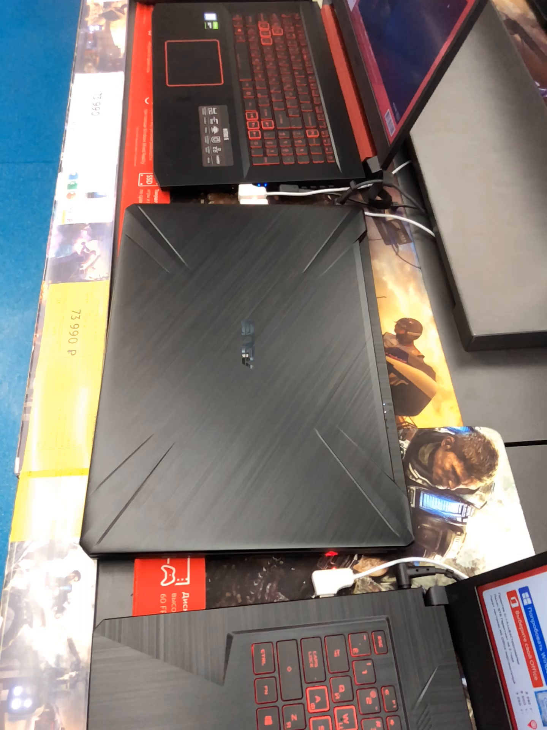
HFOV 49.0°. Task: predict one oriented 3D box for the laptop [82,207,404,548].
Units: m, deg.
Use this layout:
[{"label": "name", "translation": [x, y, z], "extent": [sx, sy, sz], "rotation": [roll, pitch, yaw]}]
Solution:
[{"label": "laptop", "translation": [-0.026, -0.018, 0.590], "extent": [0.261, 0.001, 0.387], "rotation": [1, 57, -3]}]
